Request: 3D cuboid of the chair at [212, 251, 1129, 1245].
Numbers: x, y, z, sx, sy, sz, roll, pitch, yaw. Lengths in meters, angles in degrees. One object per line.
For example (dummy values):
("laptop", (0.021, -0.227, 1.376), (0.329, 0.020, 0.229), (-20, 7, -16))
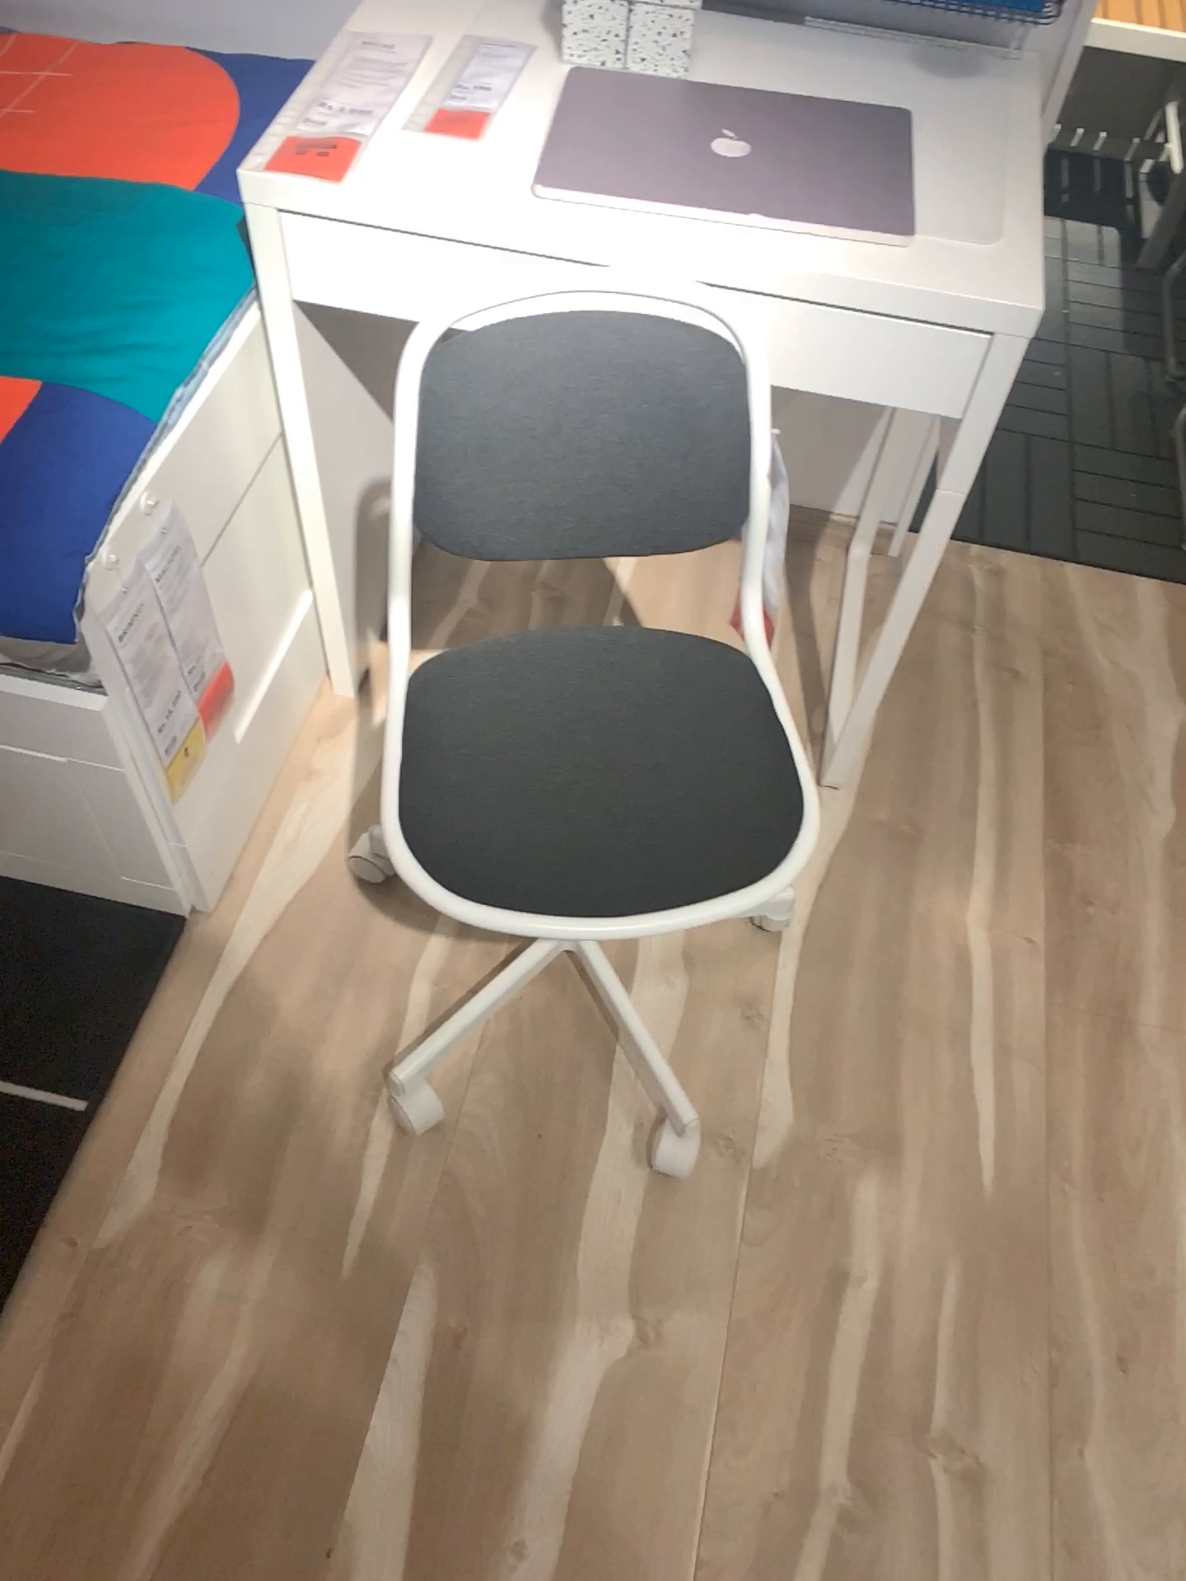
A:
("chair", (-0.010, -0.020, 1.150), (0.550, 0.658, 0.622), (-6, 55, -8))
